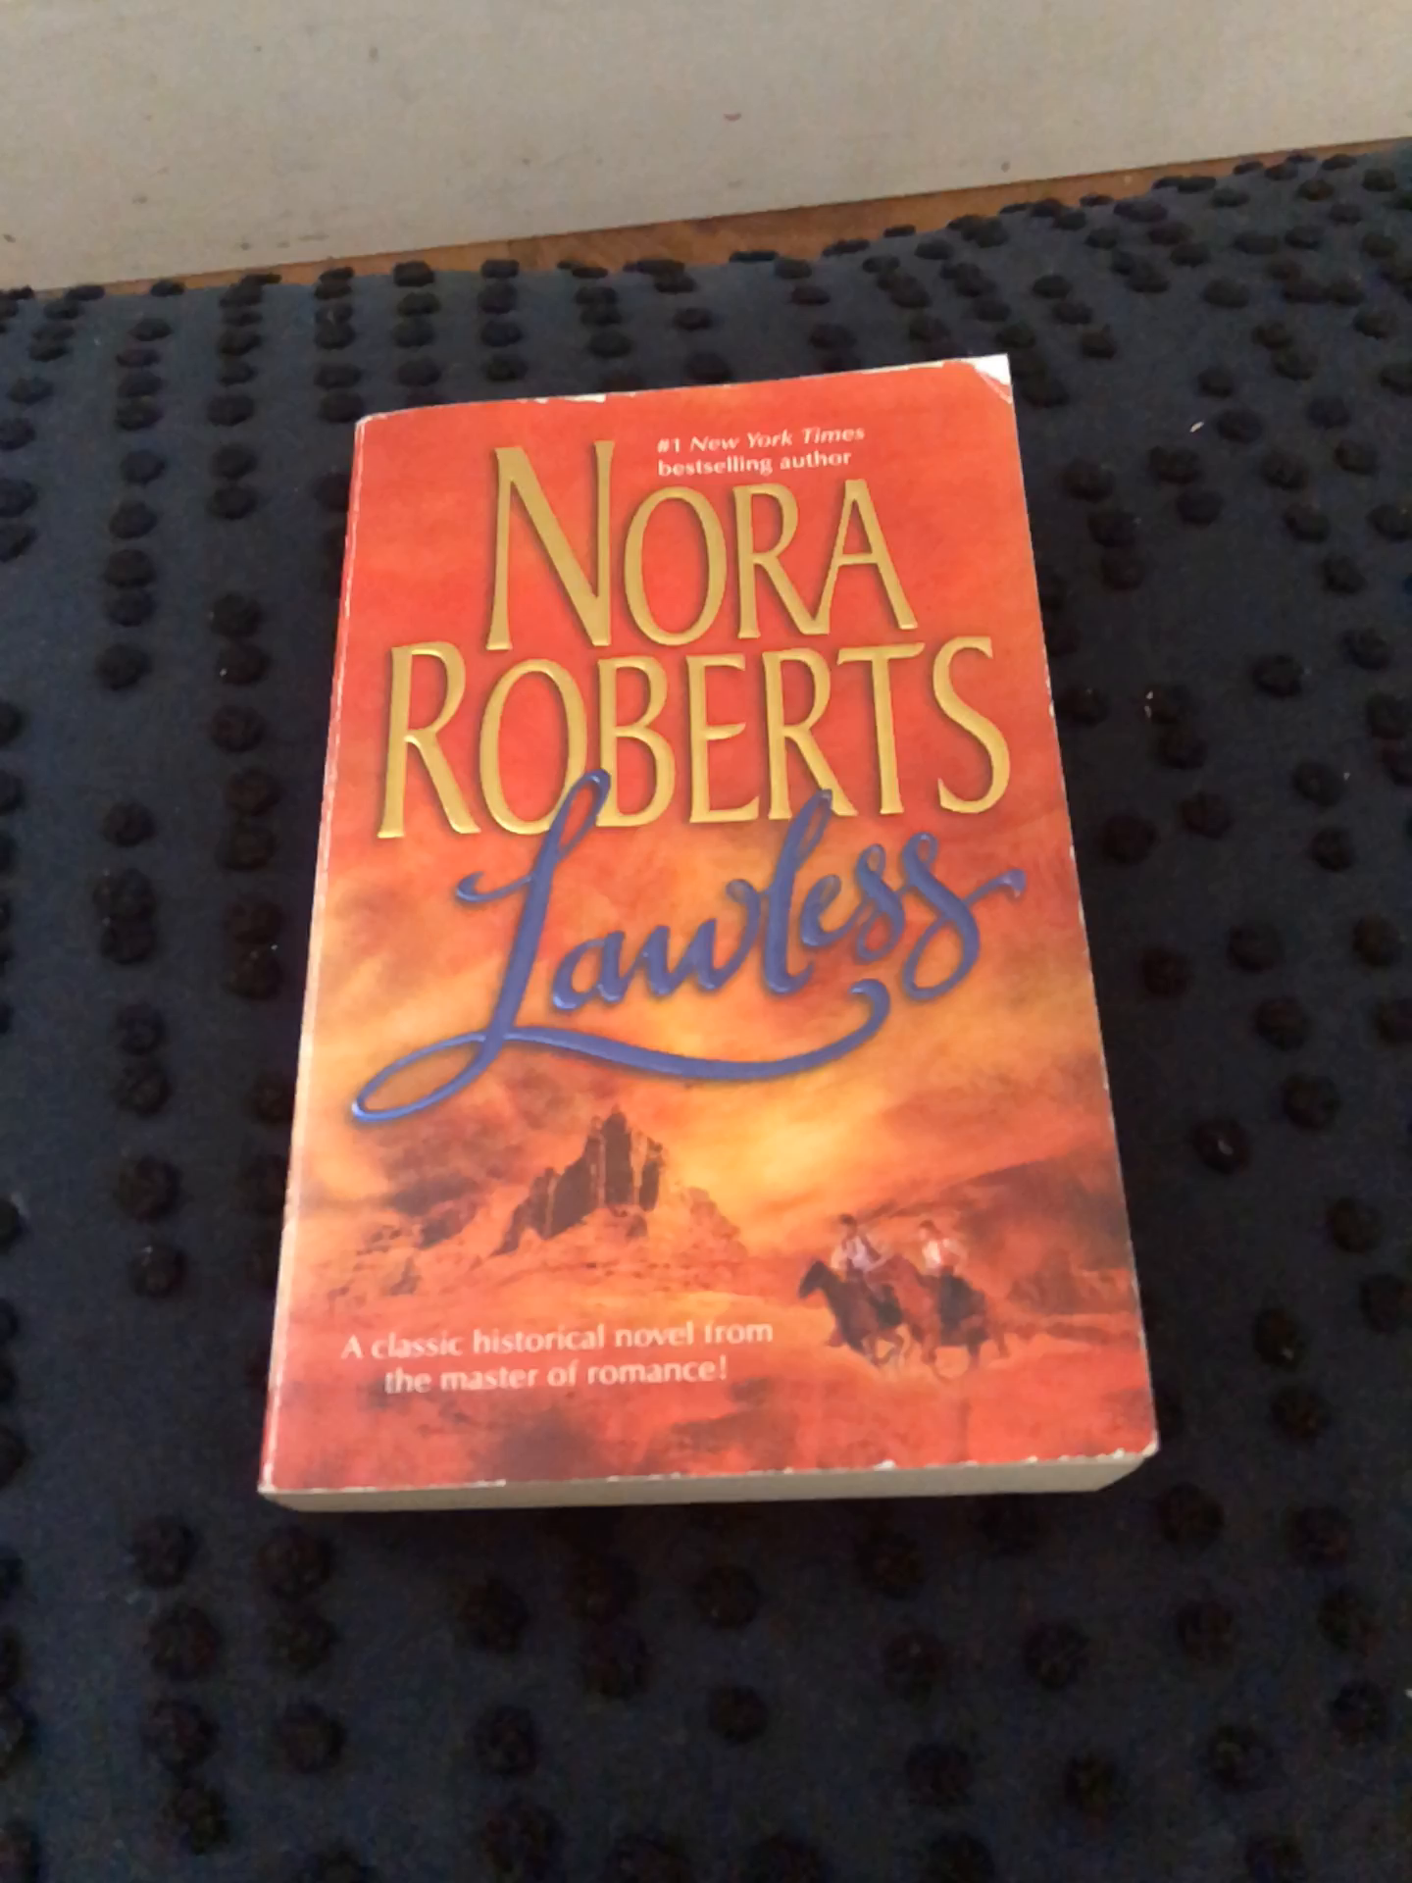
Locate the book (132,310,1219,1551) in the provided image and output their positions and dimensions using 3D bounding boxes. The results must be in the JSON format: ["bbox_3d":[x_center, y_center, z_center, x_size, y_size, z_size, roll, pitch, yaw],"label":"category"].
[{"bbox_3d":[-0.006,-0.011,0.230,0.120,0.040,0.181,0,64,-4],"label":"book"}]
